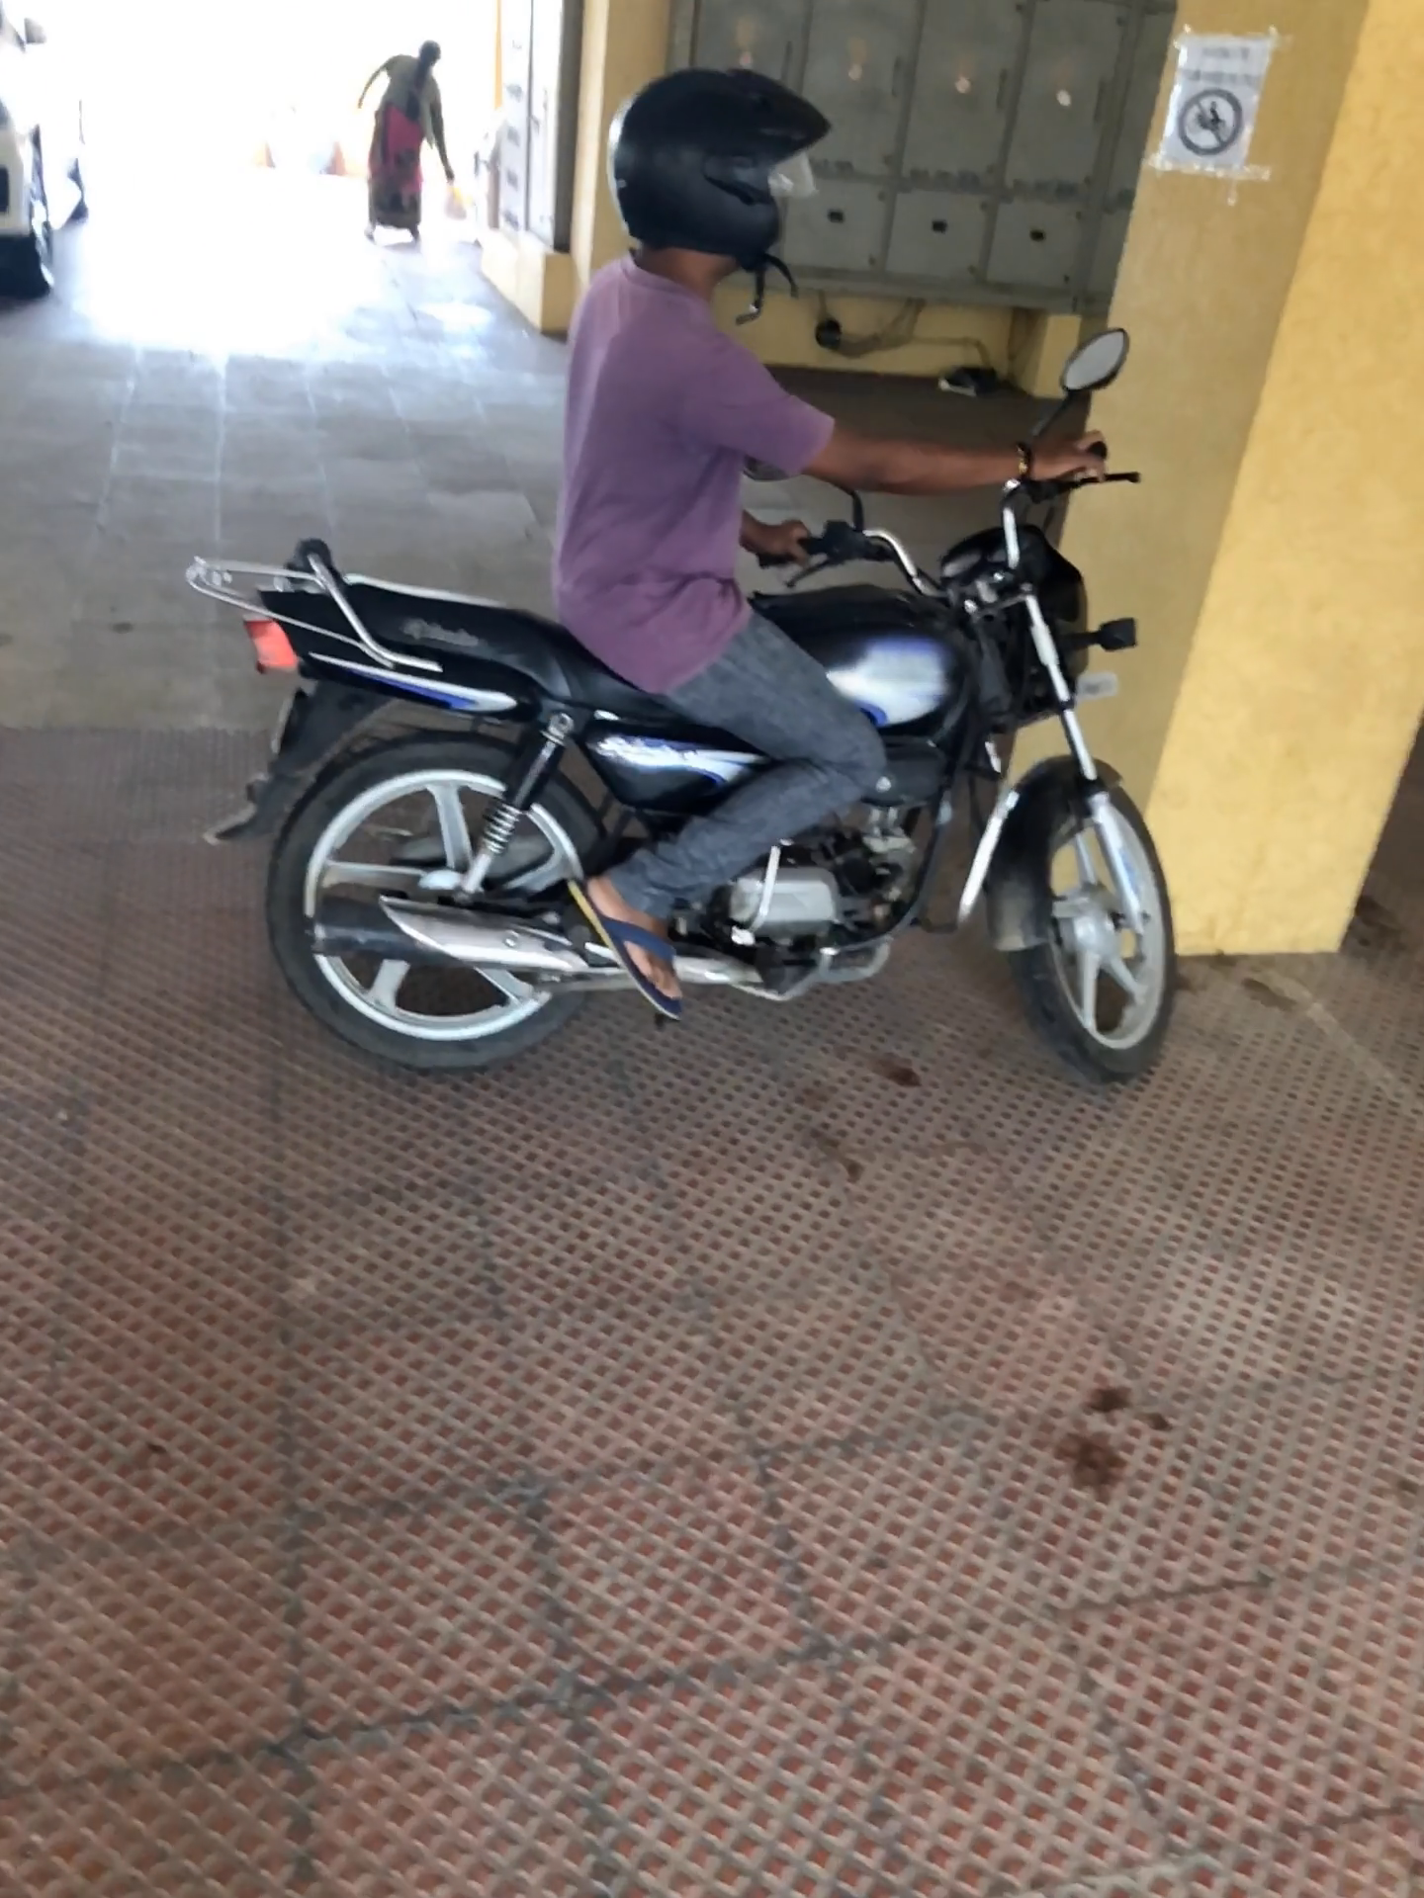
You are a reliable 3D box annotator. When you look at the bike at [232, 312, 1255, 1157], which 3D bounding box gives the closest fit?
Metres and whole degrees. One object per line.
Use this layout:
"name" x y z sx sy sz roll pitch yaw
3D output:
"bike" -0.021 -0.364 2.856 1.543 1.193 0.770 0 31 -16
